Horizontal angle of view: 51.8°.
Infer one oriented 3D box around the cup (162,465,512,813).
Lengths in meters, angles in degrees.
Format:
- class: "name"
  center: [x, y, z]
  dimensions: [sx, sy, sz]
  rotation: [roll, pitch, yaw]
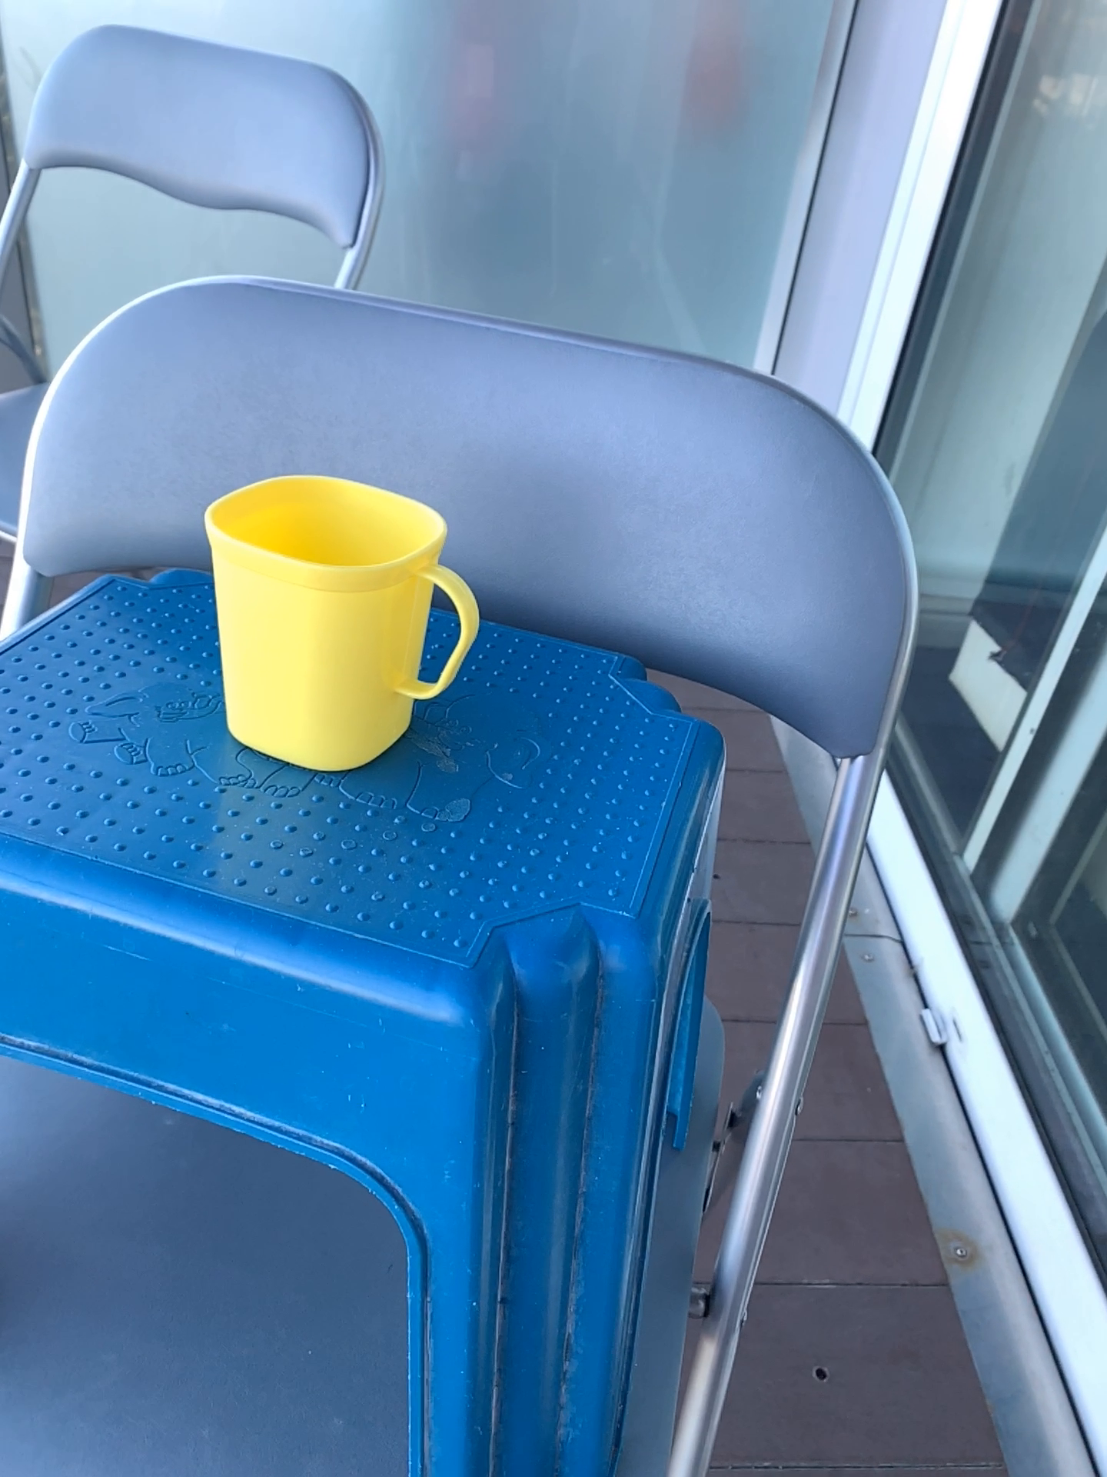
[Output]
- class: "cup"
  center: [-0.072, -0.037, 0.389]
  dimensions: [0.089, 0.077, 0.068]
  rotation: [18, 33, 16]
